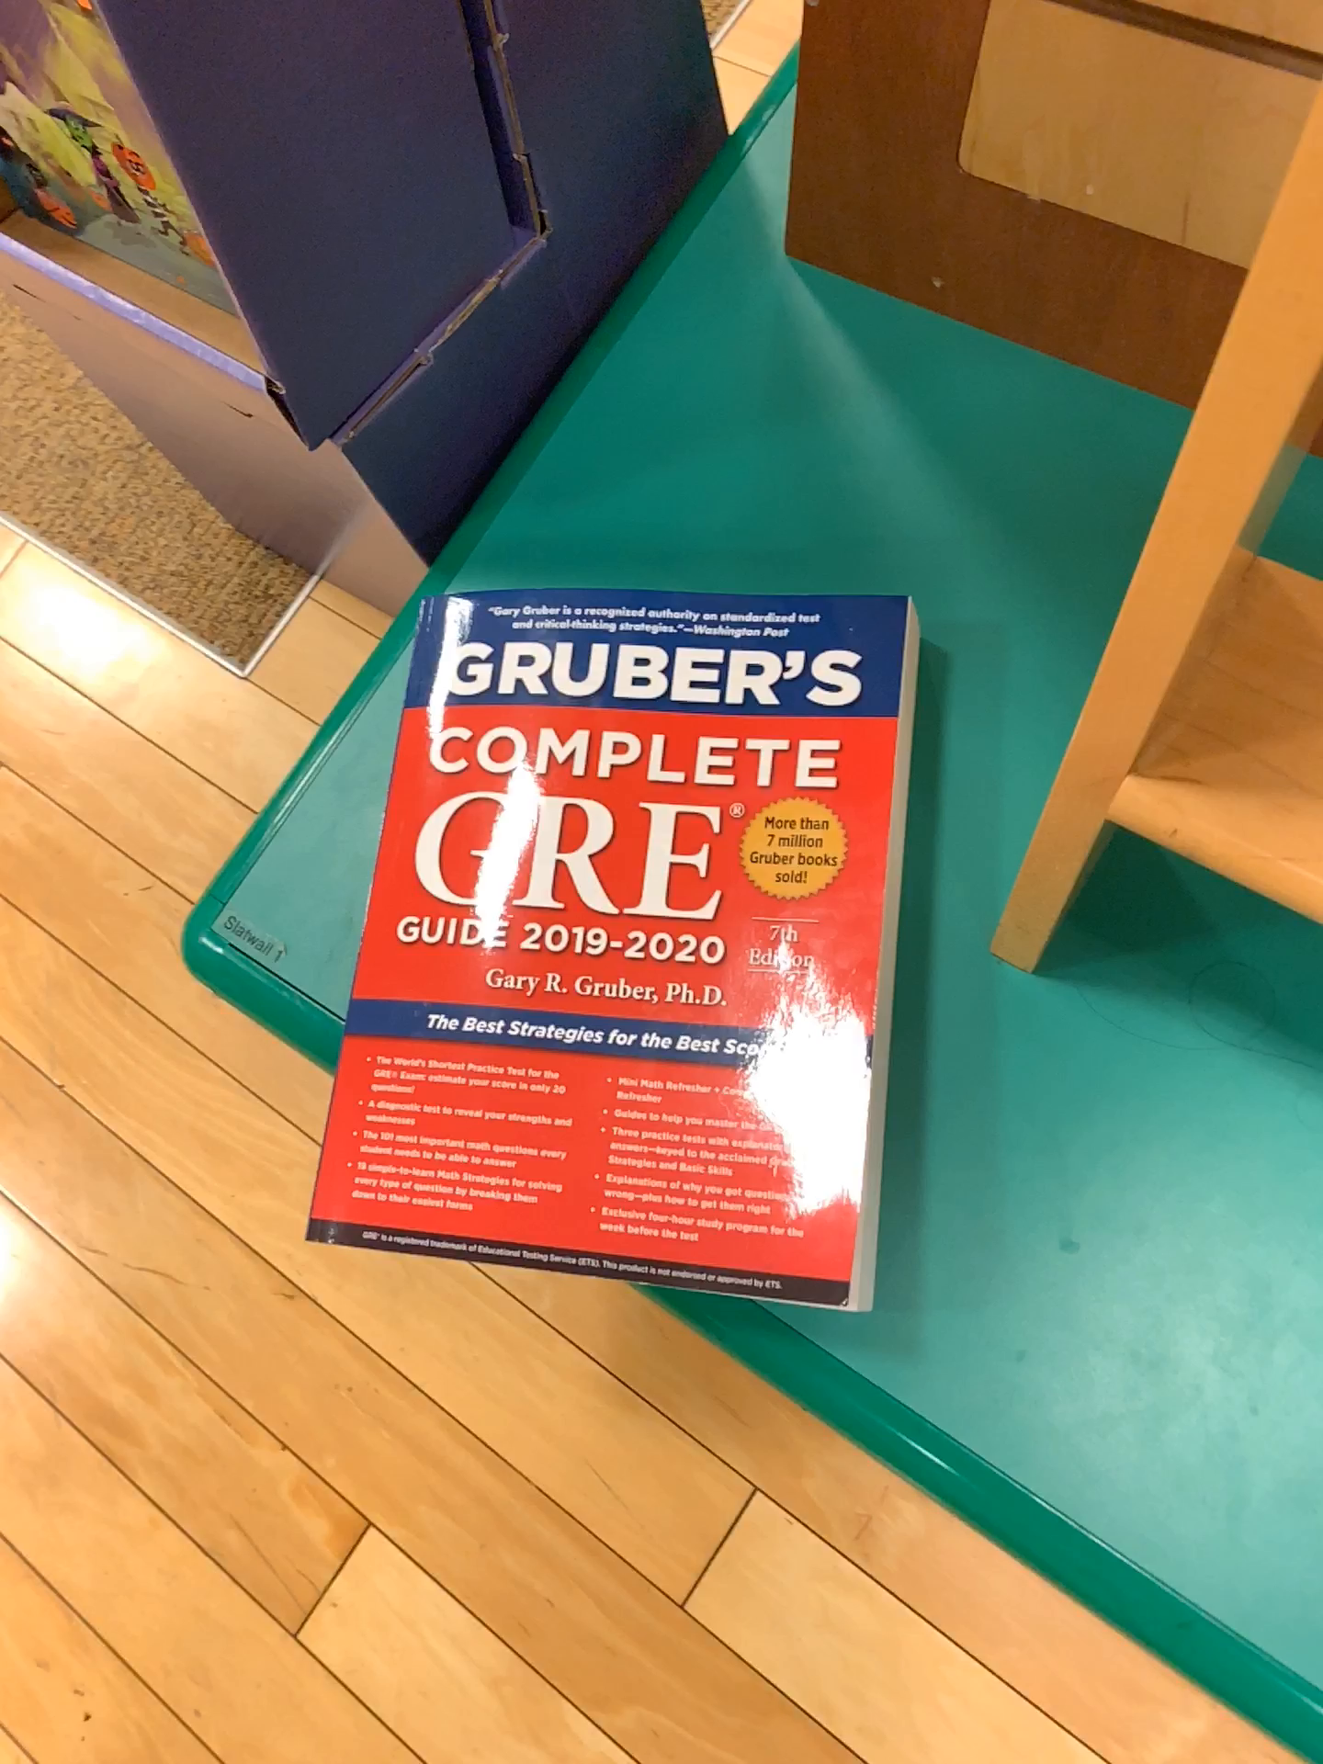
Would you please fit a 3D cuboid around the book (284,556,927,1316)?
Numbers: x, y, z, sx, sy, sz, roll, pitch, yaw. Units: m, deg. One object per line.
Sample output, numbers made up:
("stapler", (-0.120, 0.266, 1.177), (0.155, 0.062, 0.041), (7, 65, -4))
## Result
("book", (-0.015, 0.009, 0.545), (0.220, 0.040, 0.290), (3, 74, 14))
